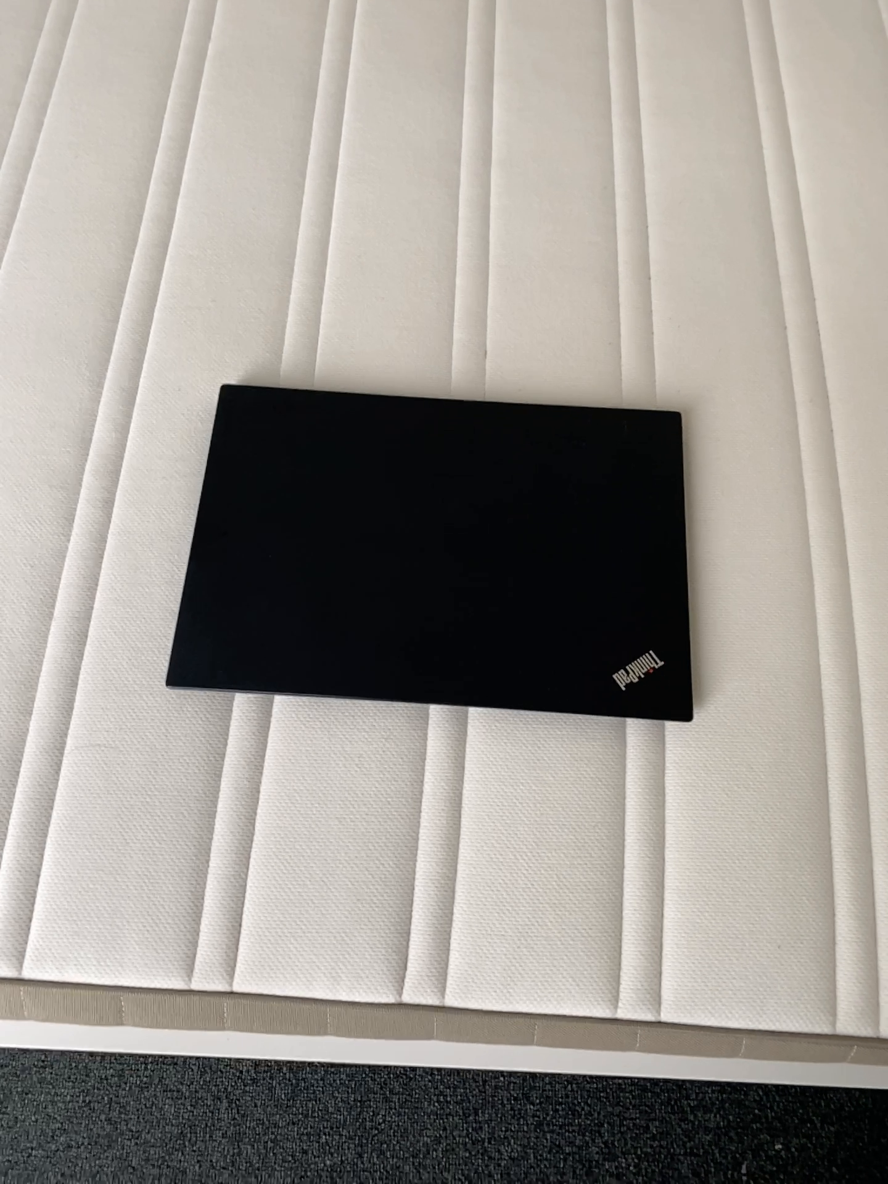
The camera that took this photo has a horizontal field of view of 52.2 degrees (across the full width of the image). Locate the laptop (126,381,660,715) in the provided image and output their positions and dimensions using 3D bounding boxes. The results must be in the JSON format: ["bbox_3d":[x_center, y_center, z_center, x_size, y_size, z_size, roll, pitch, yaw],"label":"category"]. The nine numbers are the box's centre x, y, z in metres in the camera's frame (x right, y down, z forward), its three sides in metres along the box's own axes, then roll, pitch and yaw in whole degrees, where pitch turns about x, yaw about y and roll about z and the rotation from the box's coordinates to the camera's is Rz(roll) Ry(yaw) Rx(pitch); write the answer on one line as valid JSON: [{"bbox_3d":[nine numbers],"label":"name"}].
[{"bbox_3d":[-0.024,-0.037,0.604,0.325,0.012,0.226,3,65,1],"label":"laptop"}]
